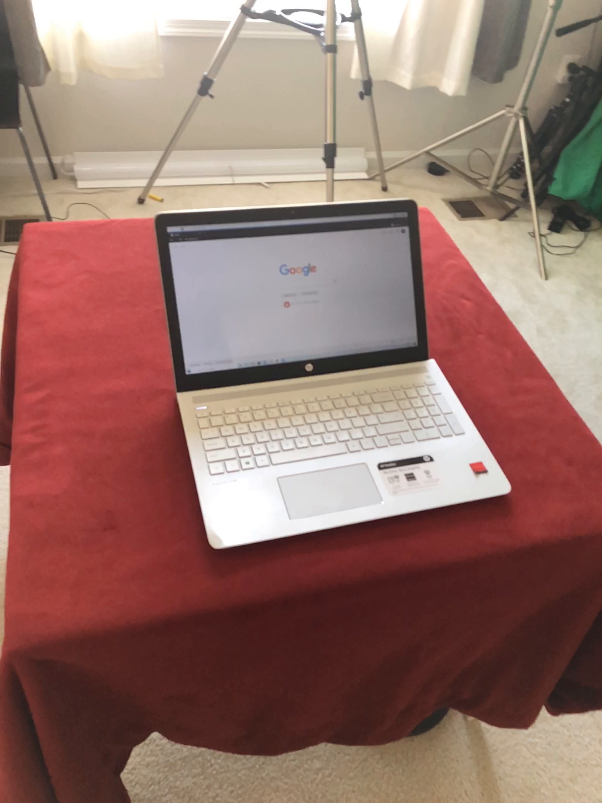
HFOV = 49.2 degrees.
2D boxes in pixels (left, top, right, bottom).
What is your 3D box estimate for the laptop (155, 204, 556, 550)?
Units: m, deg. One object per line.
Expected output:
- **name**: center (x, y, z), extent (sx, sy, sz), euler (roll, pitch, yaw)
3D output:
- **laptop**: center (0.030, -0.061, 0.815), extent (0.360, 0.158, 0.397), euler (-7, 48, -16)
